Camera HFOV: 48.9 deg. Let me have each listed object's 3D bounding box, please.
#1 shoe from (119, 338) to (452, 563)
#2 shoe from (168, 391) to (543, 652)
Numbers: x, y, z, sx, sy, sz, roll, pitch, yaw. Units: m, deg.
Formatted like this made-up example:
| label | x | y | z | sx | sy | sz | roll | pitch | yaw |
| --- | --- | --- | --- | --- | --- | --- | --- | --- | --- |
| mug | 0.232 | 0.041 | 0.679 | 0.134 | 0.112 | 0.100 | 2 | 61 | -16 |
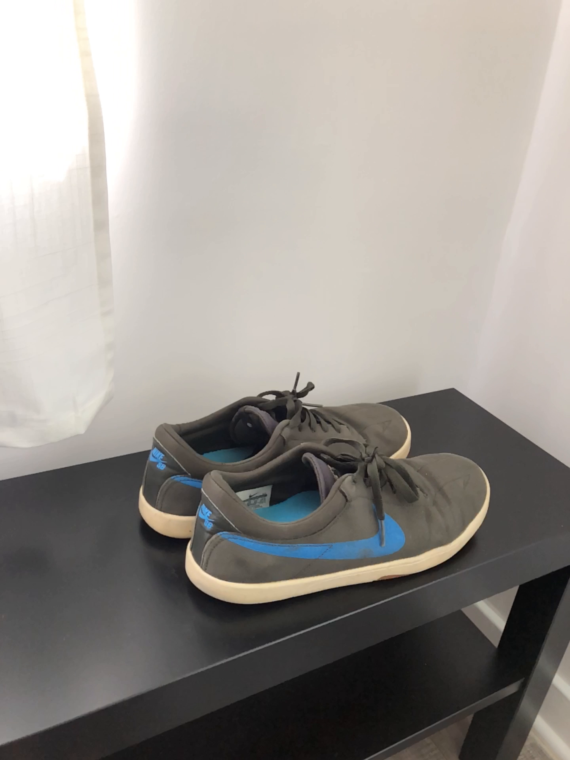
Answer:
| label | x | y | z | sx | sy | sz | roll | pitch | yaw |
| --- | --- | --- | --- | --- | --- | --- | --- | --- | --- |
| shoe | 0.004 | 0.050 | 0.572 | 0.280 | 0.110 | 0.100 | -11 | 32 | -29 |
| shoe | 0.056 | 0.099 | 0.509 | 0.280 | 0.110 | 0.100 | -8 | 30 | -26 |
